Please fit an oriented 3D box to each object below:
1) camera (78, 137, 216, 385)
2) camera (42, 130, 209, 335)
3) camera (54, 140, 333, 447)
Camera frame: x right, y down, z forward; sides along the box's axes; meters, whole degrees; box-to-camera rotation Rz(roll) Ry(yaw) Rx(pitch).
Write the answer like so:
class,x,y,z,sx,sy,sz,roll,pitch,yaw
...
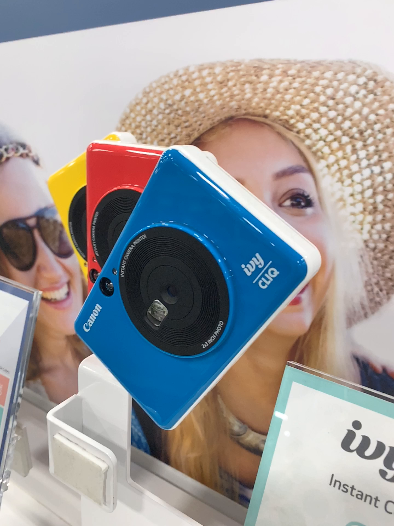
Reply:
class,x,y,z,sx,sy,sz,roll,pitch,yaw
camera,-0.029,-0.003,0.233,0.067,0.123,0.030,17,27,33
camera,-0.050,-0.016,0.281,0.068,0.123,0.030,-17,10,42
camera,-0.010,0.017,0.185,0.078,0.113,0.030,43,33,13
